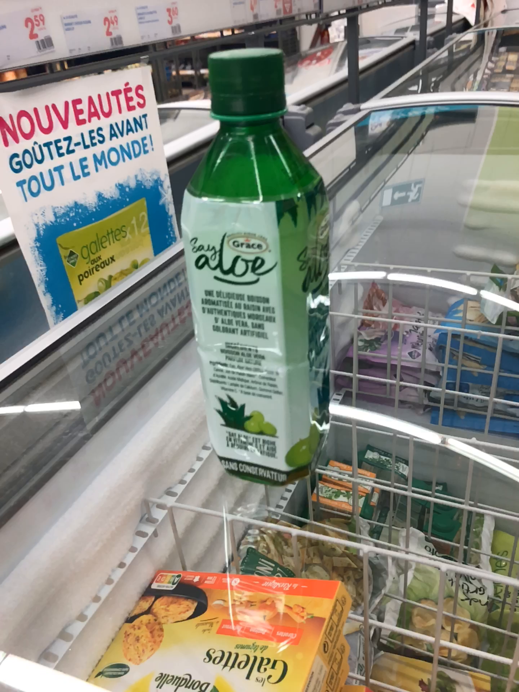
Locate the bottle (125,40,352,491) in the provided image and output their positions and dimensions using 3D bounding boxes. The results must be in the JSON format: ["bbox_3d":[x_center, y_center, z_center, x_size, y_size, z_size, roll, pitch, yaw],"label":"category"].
[{"bbox_3d":[0.003,-0.033,0.281,0.070,0.199,0.070,-4,30,3],"label":"bottle"}]
